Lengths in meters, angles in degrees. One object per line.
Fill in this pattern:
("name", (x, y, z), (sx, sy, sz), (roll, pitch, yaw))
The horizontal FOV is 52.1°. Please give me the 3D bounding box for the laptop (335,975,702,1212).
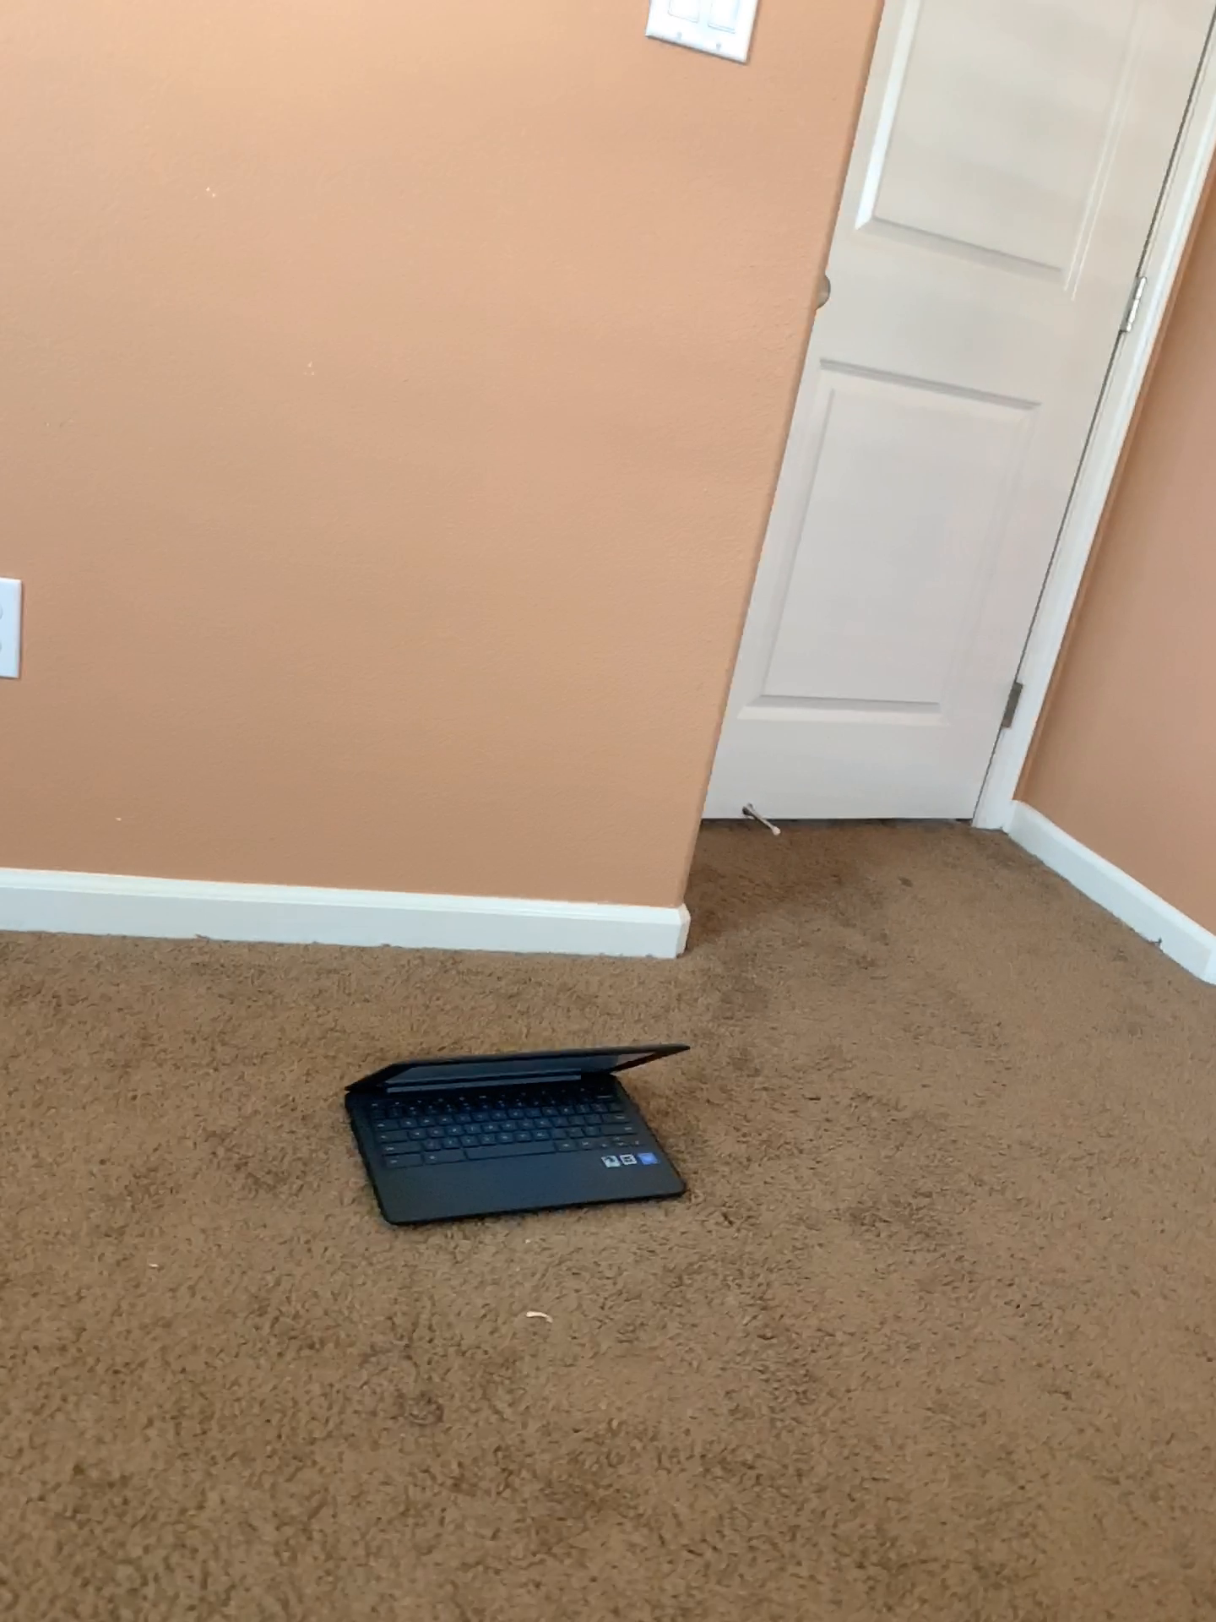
("laptop", (-0.093, 0.262, 1.204), (0.289, 0.127, 0.195), (2, 19, -24))
